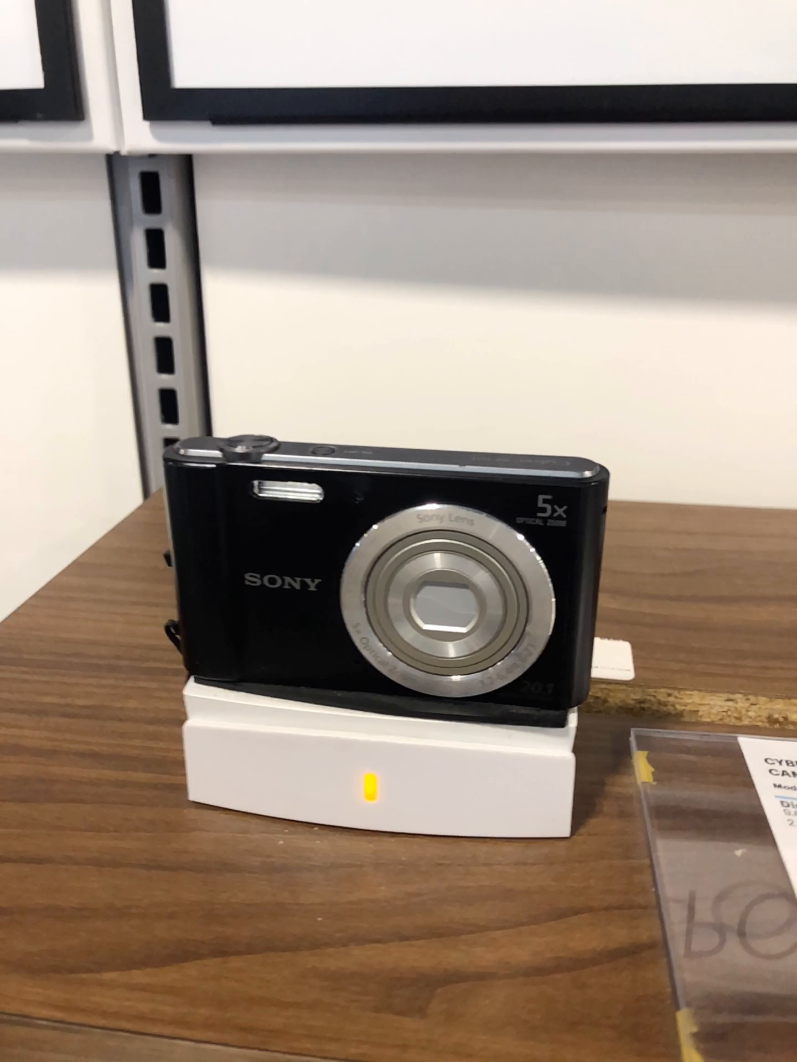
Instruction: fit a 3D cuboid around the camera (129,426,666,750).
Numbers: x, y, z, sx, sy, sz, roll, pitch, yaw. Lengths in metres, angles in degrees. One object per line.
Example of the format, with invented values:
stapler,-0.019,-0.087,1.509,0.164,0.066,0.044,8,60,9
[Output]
camera,0.000,0.009,0.183,0.100,0.050,0.030,5,20,12
